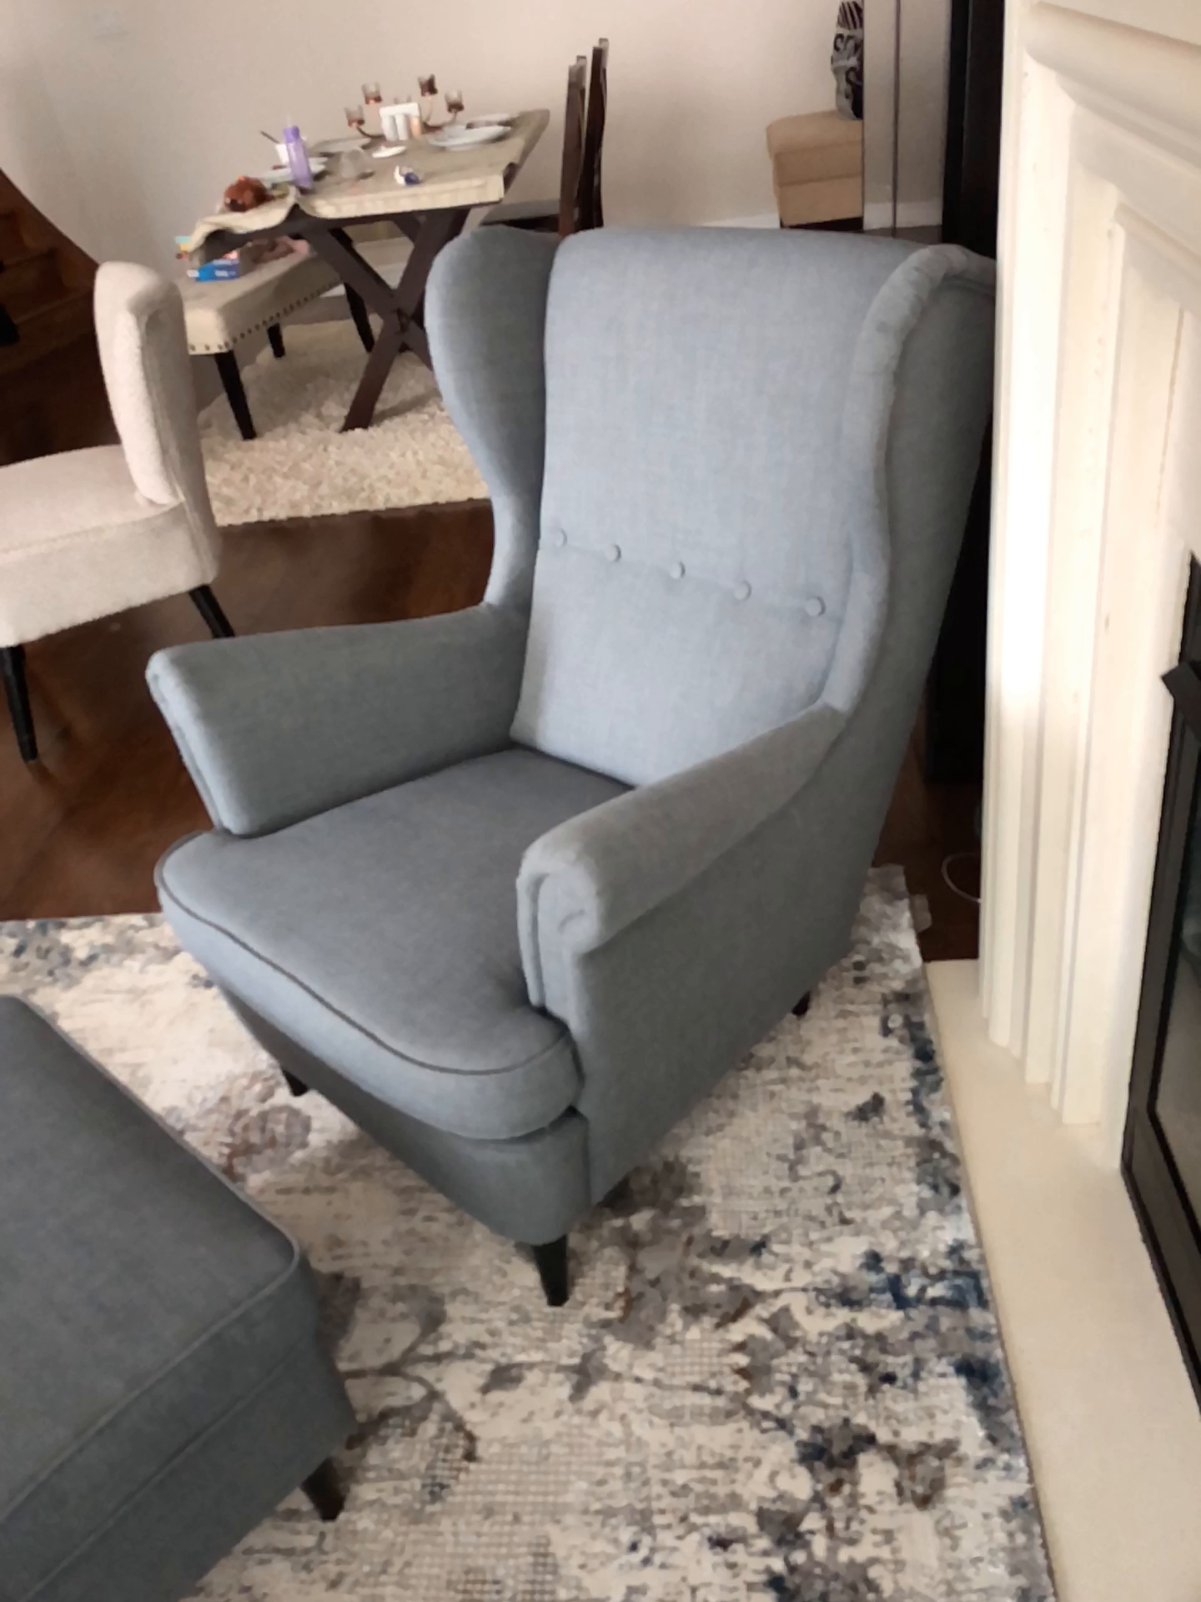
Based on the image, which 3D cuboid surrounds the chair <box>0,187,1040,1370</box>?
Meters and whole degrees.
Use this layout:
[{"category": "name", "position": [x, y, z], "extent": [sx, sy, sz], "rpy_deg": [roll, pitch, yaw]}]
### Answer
[{"category": "chair", "position": [-0.070, -0.130, 1.593], "extent": [0.802, 0.966, 0.851], "rpy_deg": [22, 44, 39]}]
